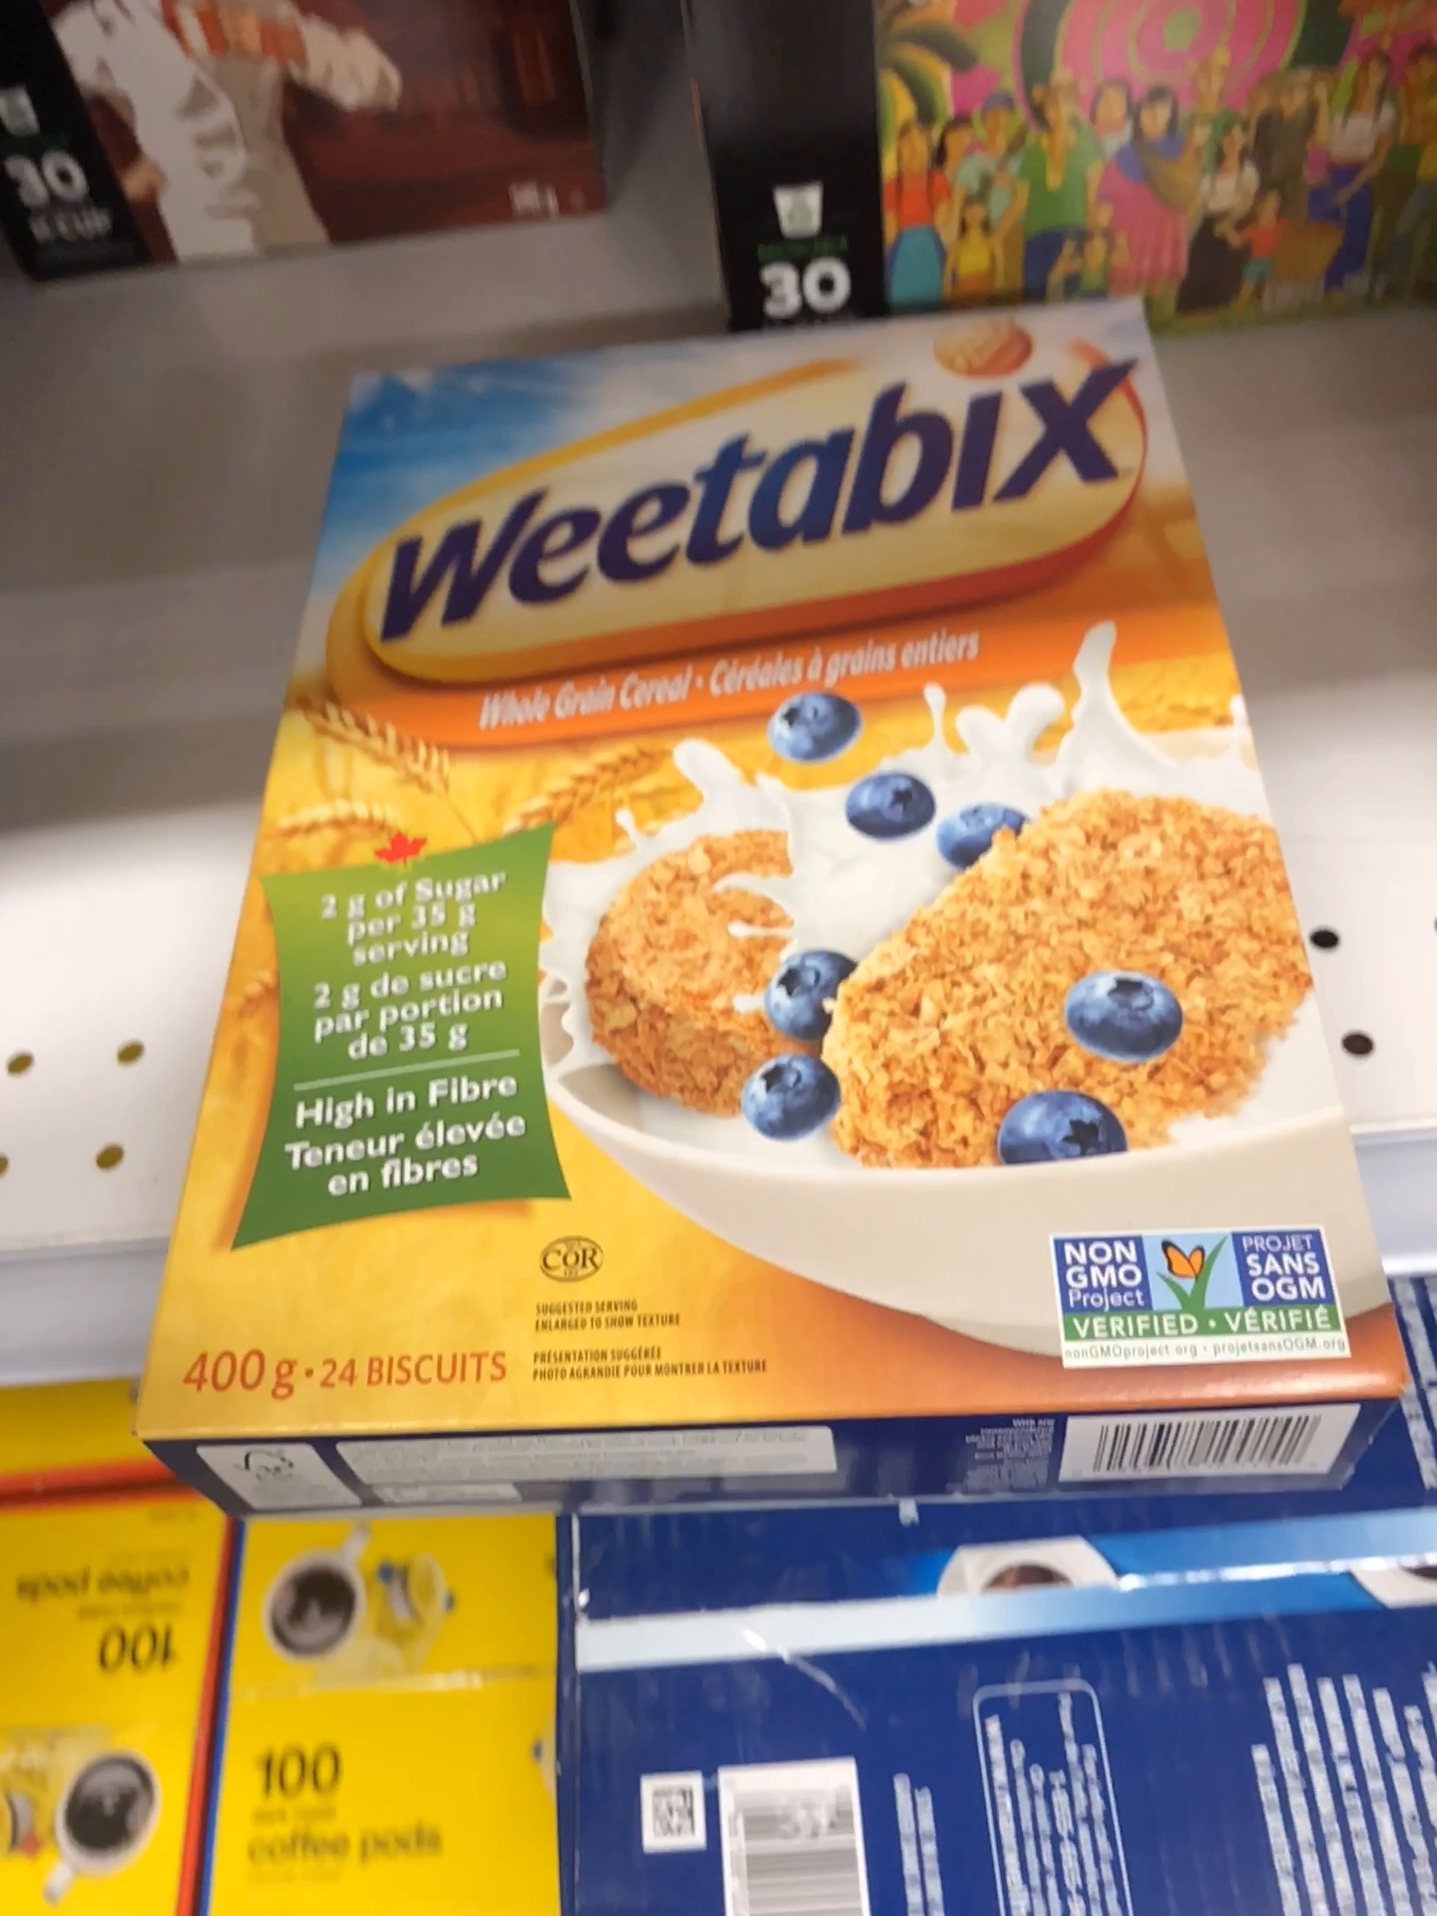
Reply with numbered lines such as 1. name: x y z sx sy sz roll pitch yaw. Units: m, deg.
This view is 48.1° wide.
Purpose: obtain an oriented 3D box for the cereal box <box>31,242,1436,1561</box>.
1. cereal box: 0.007 -0.035 0.333 0.210 0.050 0.291 -4 53 6
